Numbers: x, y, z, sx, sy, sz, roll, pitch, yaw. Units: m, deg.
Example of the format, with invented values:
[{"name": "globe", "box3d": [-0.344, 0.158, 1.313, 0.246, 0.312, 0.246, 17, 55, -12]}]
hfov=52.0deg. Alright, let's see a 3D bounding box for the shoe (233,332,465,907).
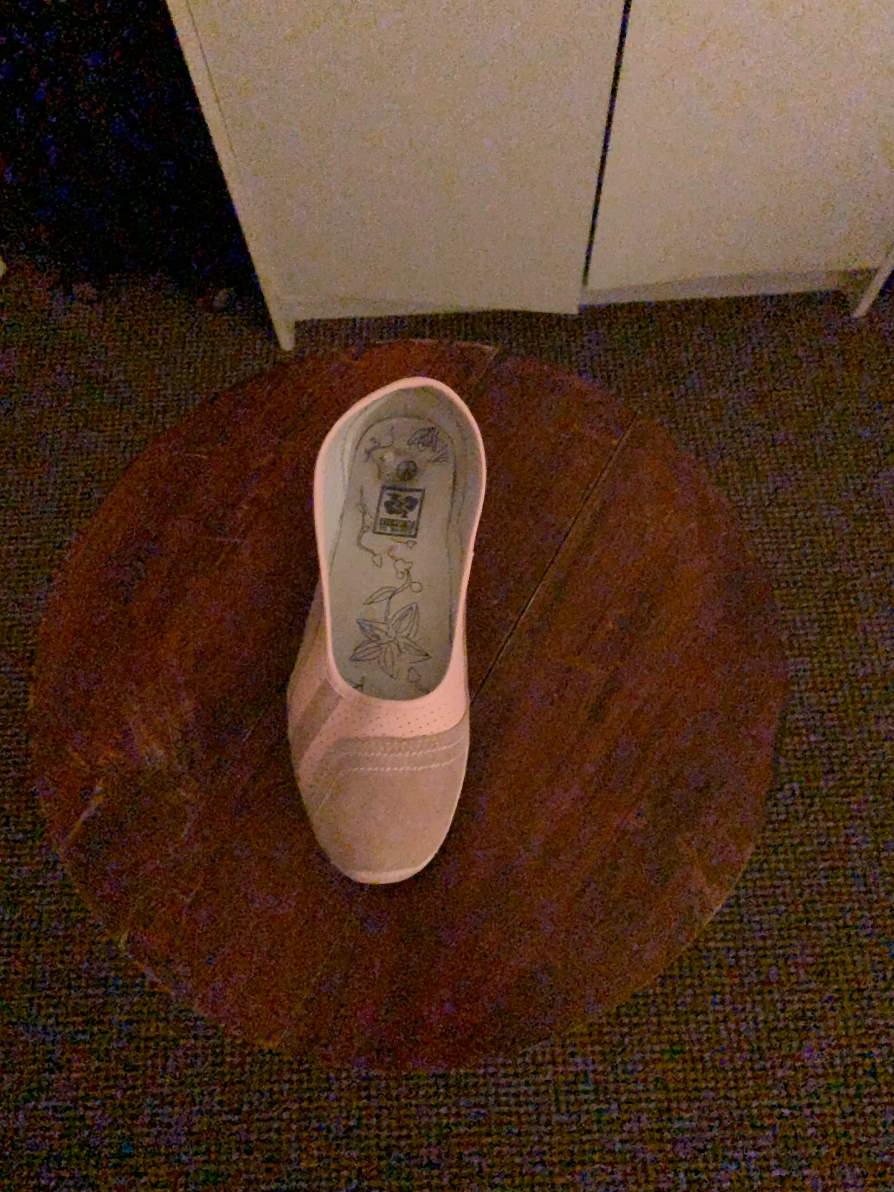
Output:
[{"name": "shoe", "box3d": [-0.037, 0.005, 0.444, 0.090, 0.070, 0.271, 0, 67, 2]}]
